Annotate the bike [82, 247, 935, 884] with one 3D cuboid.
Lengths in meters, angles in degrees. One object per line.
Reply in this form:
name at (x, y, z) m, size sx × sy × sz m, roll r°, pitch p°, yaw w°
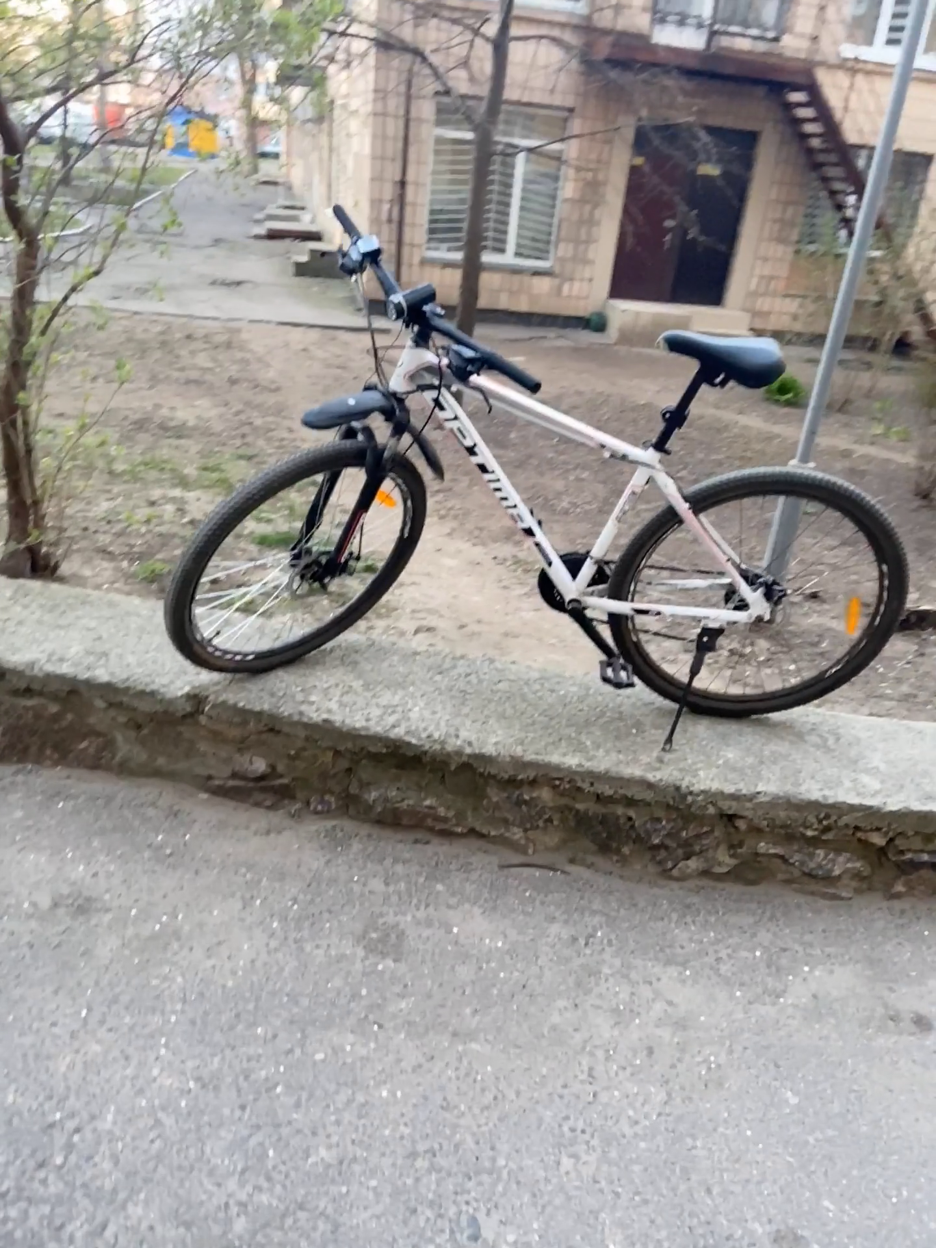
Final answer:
bike at (0.224, -0.151, 2.085) m, size 1.751 × 1.144 × 0.682 m, roll 1°, pitch 26°, yaw -7°
